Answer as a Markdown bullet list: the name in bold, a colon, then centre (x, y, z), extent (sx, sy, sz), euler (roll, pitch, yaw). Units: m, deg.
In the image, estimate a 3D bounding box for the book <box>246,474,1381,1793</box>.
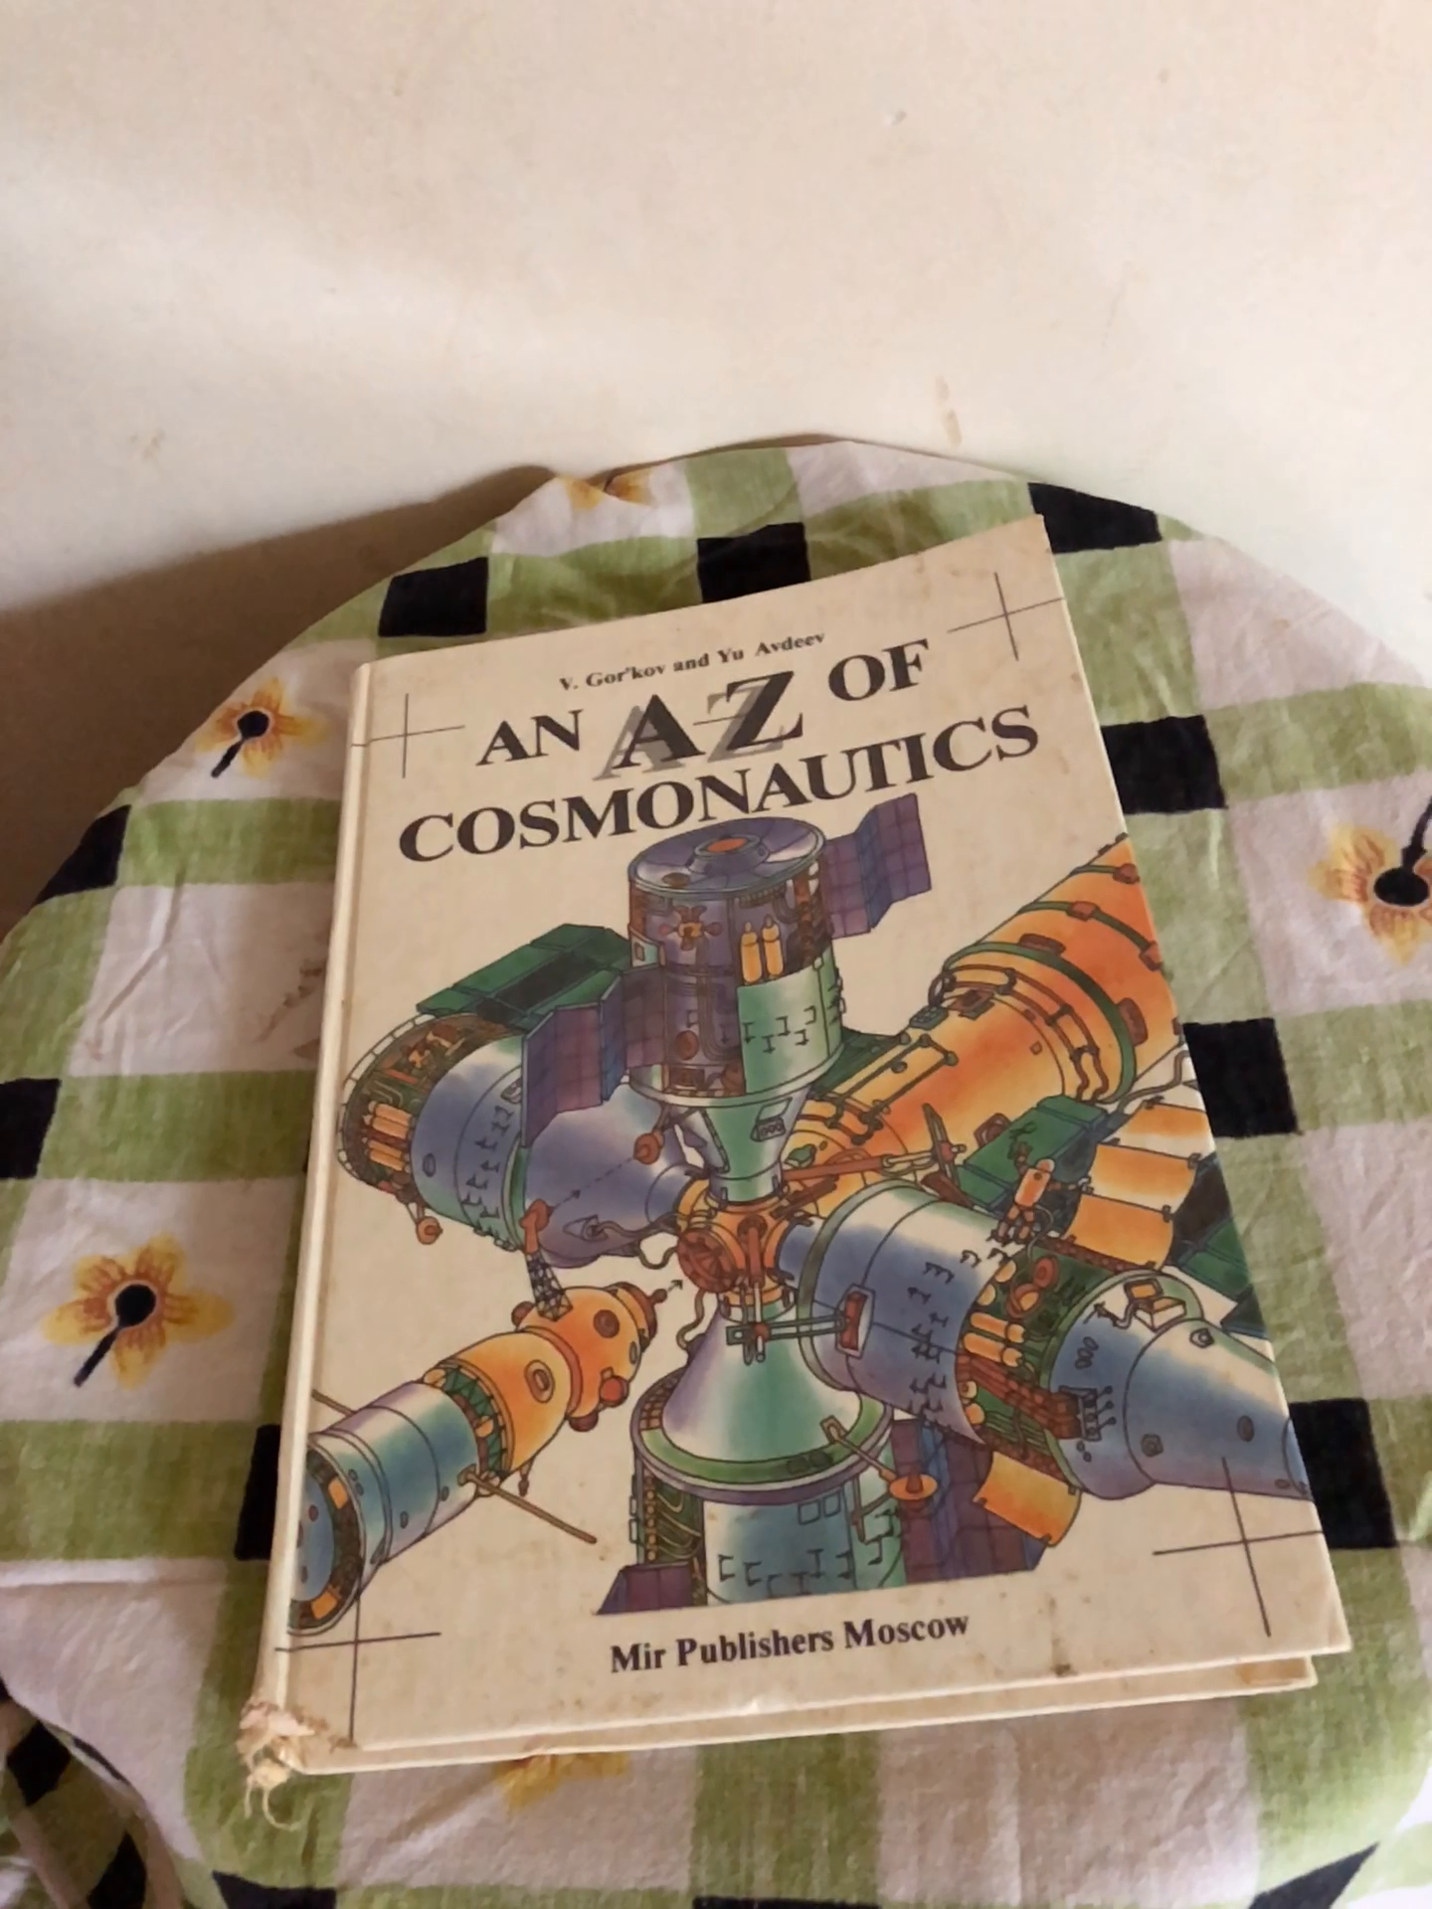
- **book**: centre (0.007, 0.021, 0.351), extent (0.180, 0.060, 0.271), euler (-8, 56, 4)
